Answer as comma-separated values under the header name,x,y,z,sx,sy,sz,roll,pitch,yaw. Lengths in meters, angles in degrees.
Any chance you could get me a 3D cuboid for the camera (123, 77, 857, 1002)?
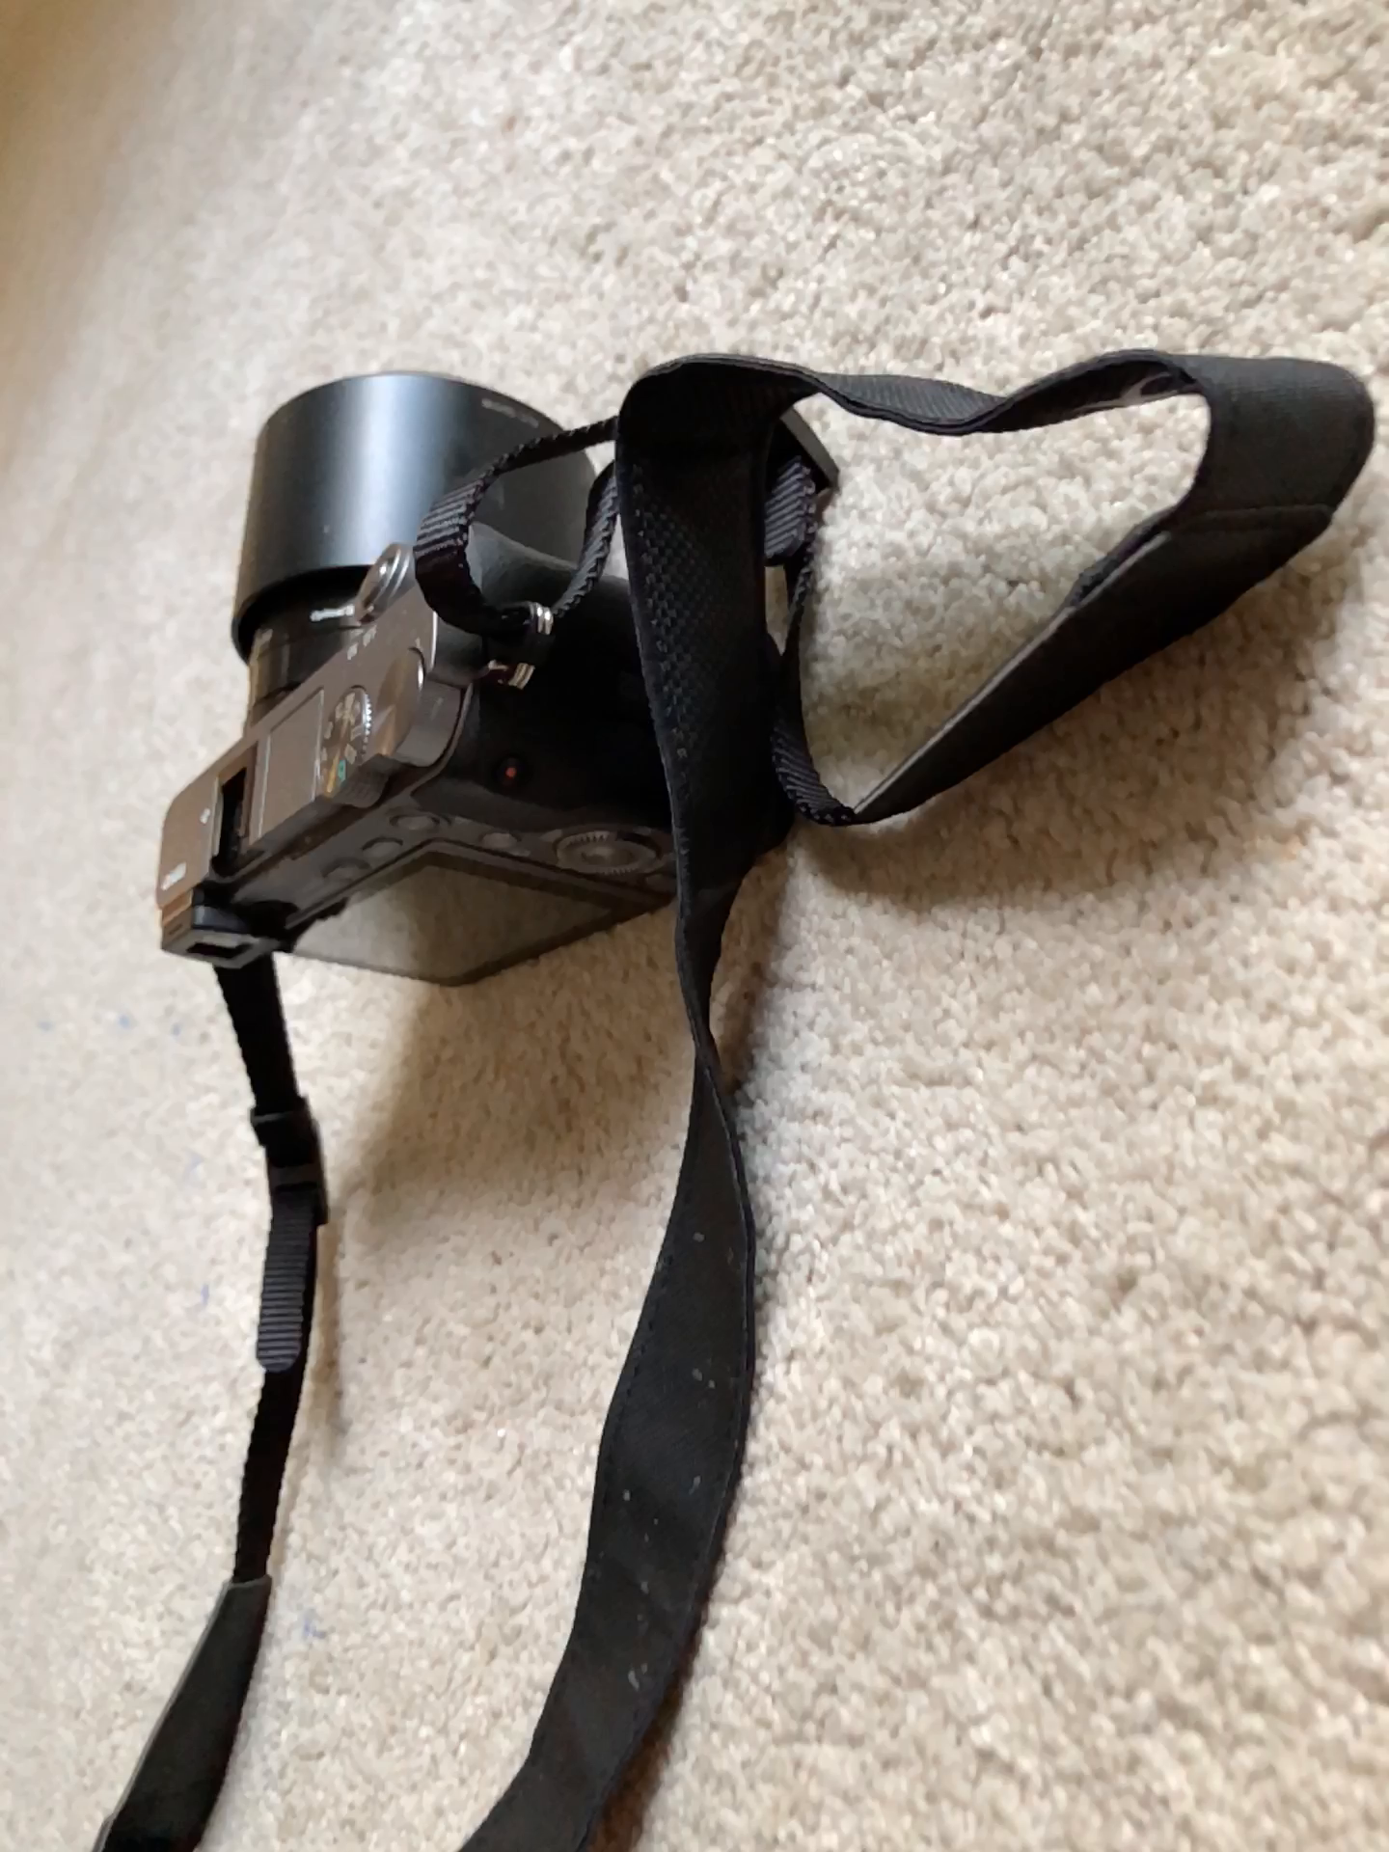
name,x,y,z,sx,sy,sz,roll,pitch,yaw
camera,-0.039,-0.052,0.270,0.121,0.070,0.100,-21,63,50
